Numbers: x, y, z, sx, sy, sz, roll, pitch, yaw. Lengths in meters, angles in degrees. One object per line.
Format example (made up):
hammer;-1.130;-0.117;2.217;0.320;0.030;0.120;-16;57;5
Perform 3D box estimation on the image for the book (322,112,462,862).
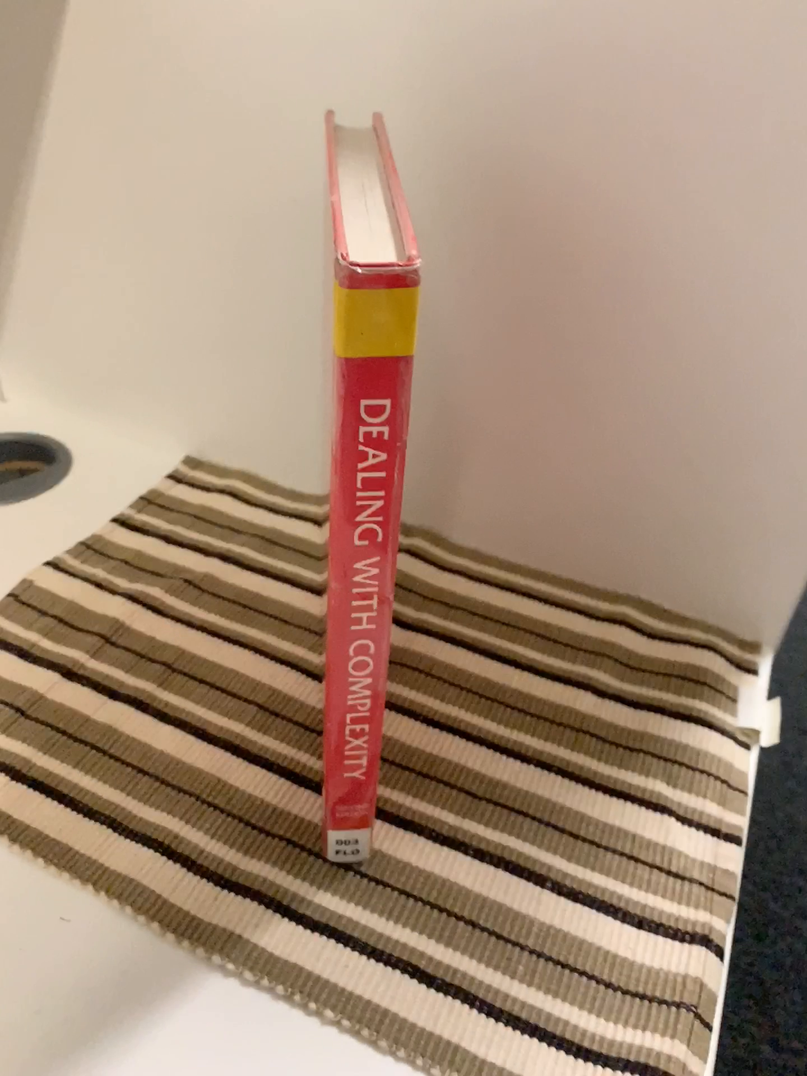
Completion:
book;-0.018;-0.025;0.360;0.030;0.250;0.202;0;36;-6
